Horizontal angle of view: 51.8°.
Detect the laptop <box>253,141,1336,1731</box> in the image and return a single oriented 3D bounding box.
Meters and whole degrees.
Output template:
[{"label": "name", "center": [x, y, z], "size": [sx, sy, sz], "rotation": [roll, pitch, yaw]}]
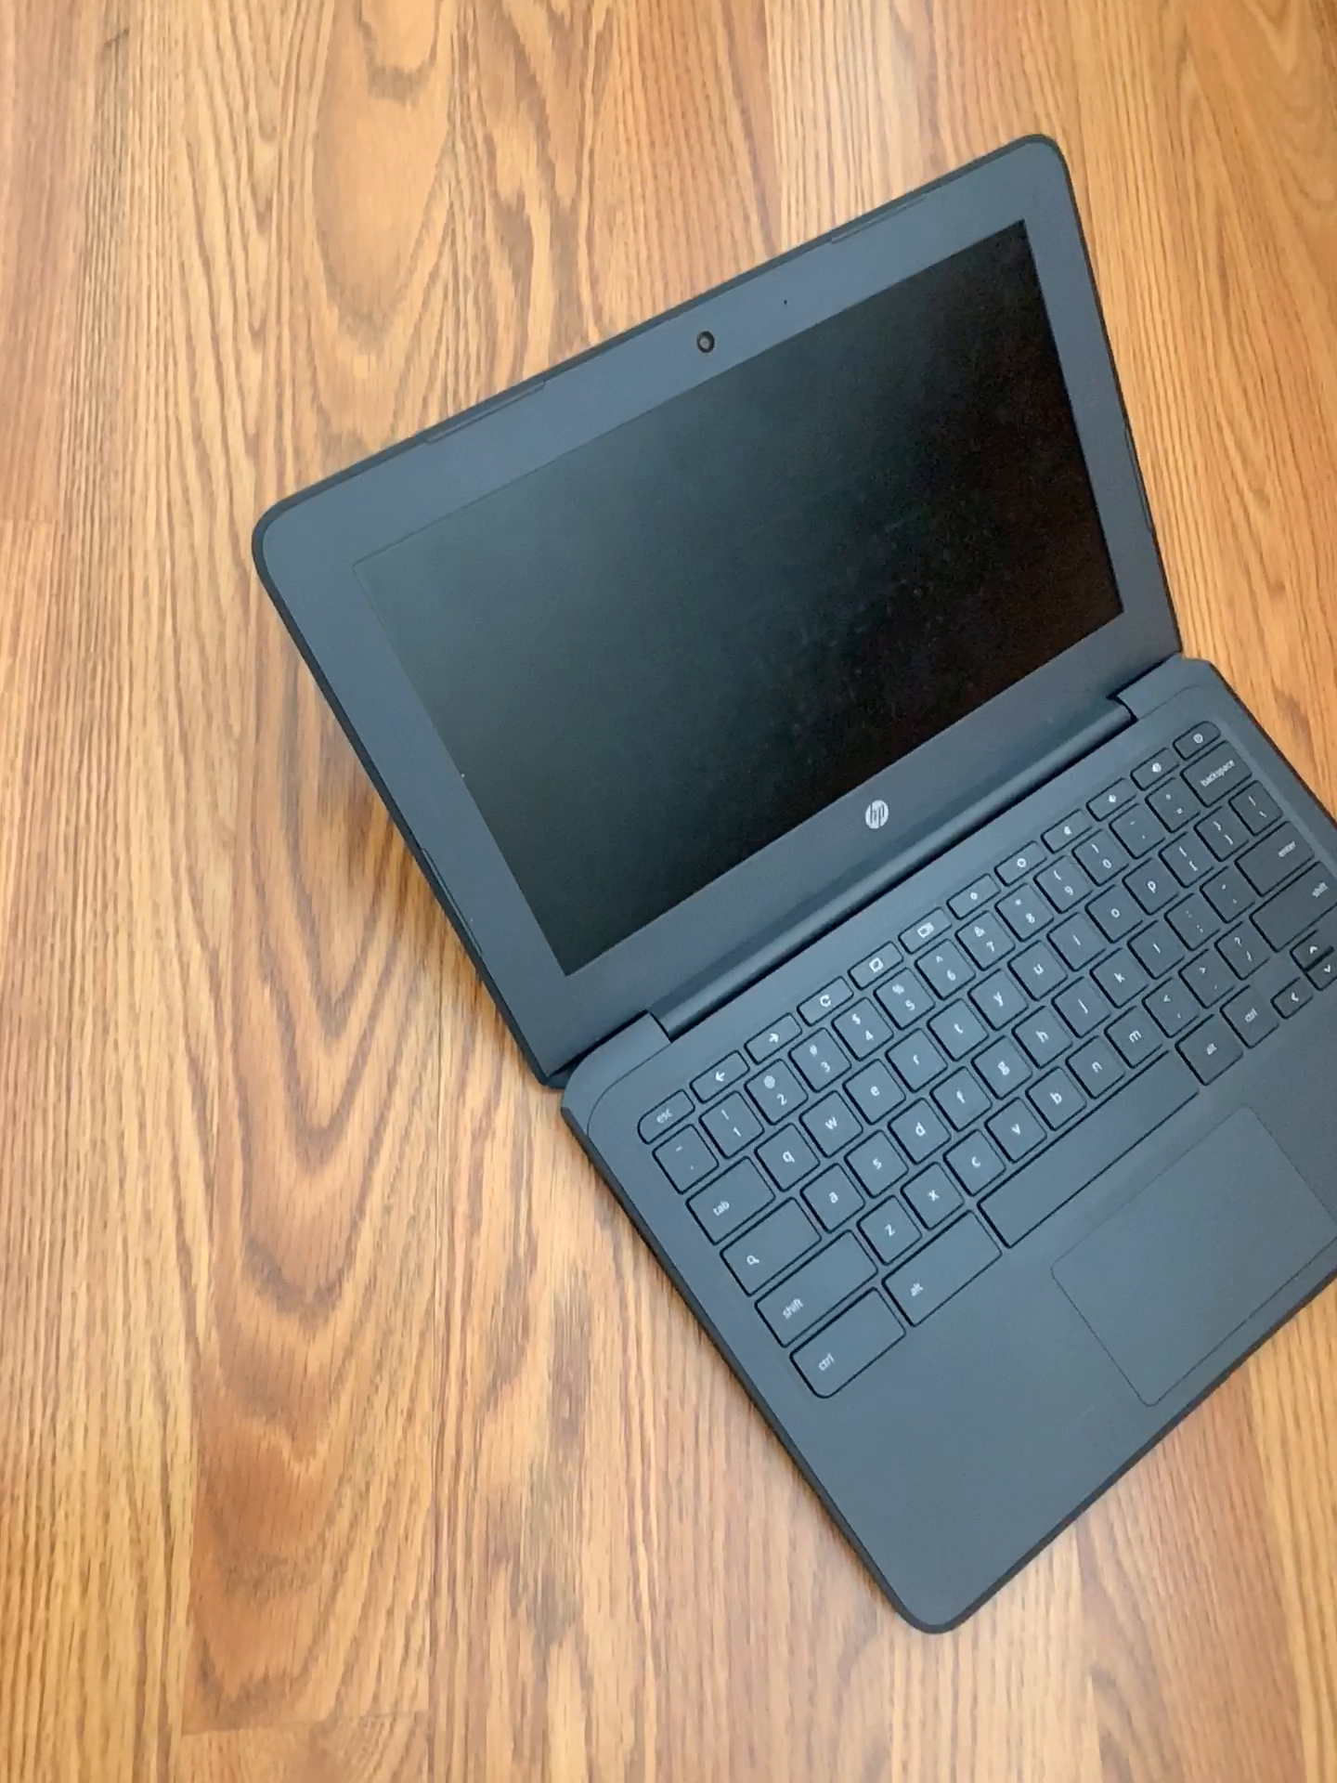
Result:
[{"label": "laptop", "center": [0.104, -0.011, 0.441], "size": [0.299, 0.110, 0.360], "rotation": [-33, 82, -17]}]
